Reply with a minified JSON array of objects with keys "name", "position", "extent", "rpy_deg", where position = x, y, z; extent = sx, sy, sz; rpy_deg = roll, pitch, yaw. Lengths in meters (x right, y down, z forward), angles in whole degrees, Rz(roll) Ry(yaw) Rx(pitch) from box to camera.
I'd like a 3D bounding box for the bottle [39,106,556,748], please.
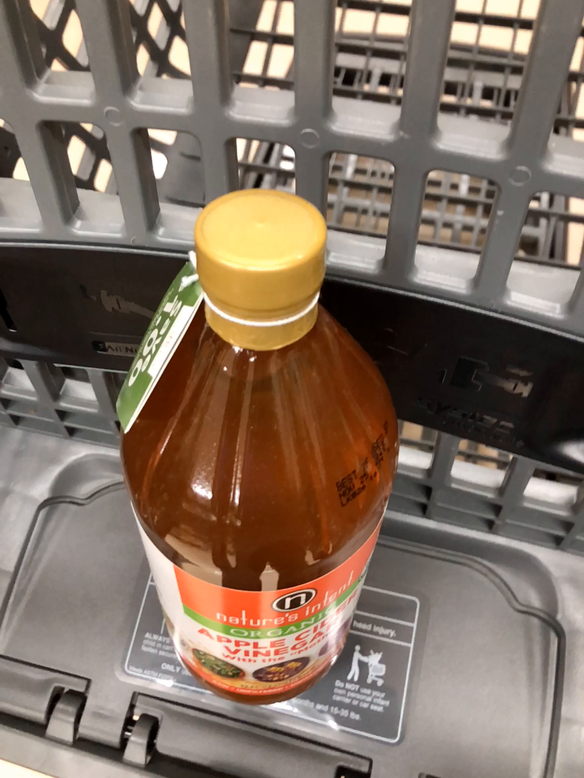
[{"name":"bottle","position":[-0.011,0.038,0.242],"extent":[0.100,0.240,0.090],"rpy_deg":[-10,49,-13]}]
